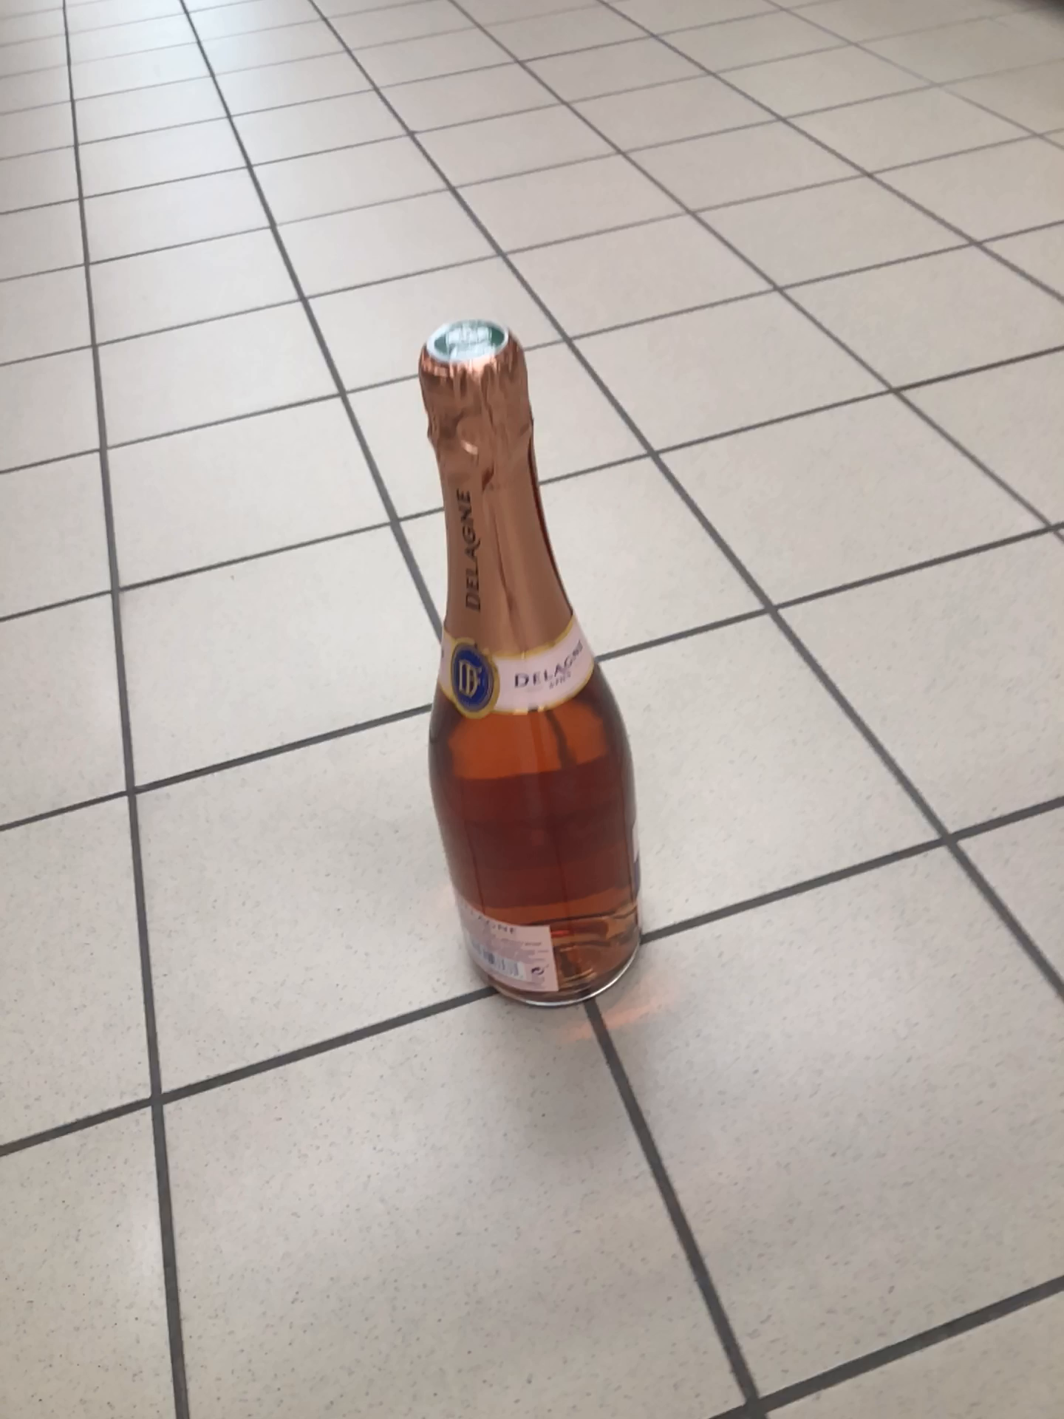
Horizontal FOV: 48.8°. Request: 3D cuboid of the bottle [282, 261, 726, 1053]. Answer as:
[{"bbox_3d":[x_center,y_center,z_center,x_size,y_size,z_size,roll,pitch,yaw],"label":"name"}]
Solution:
[{"bbox_3d":[0.004,-0.004,0.450,0.100,0.288,0.090,25,51,30],"label":"bottle"}]
